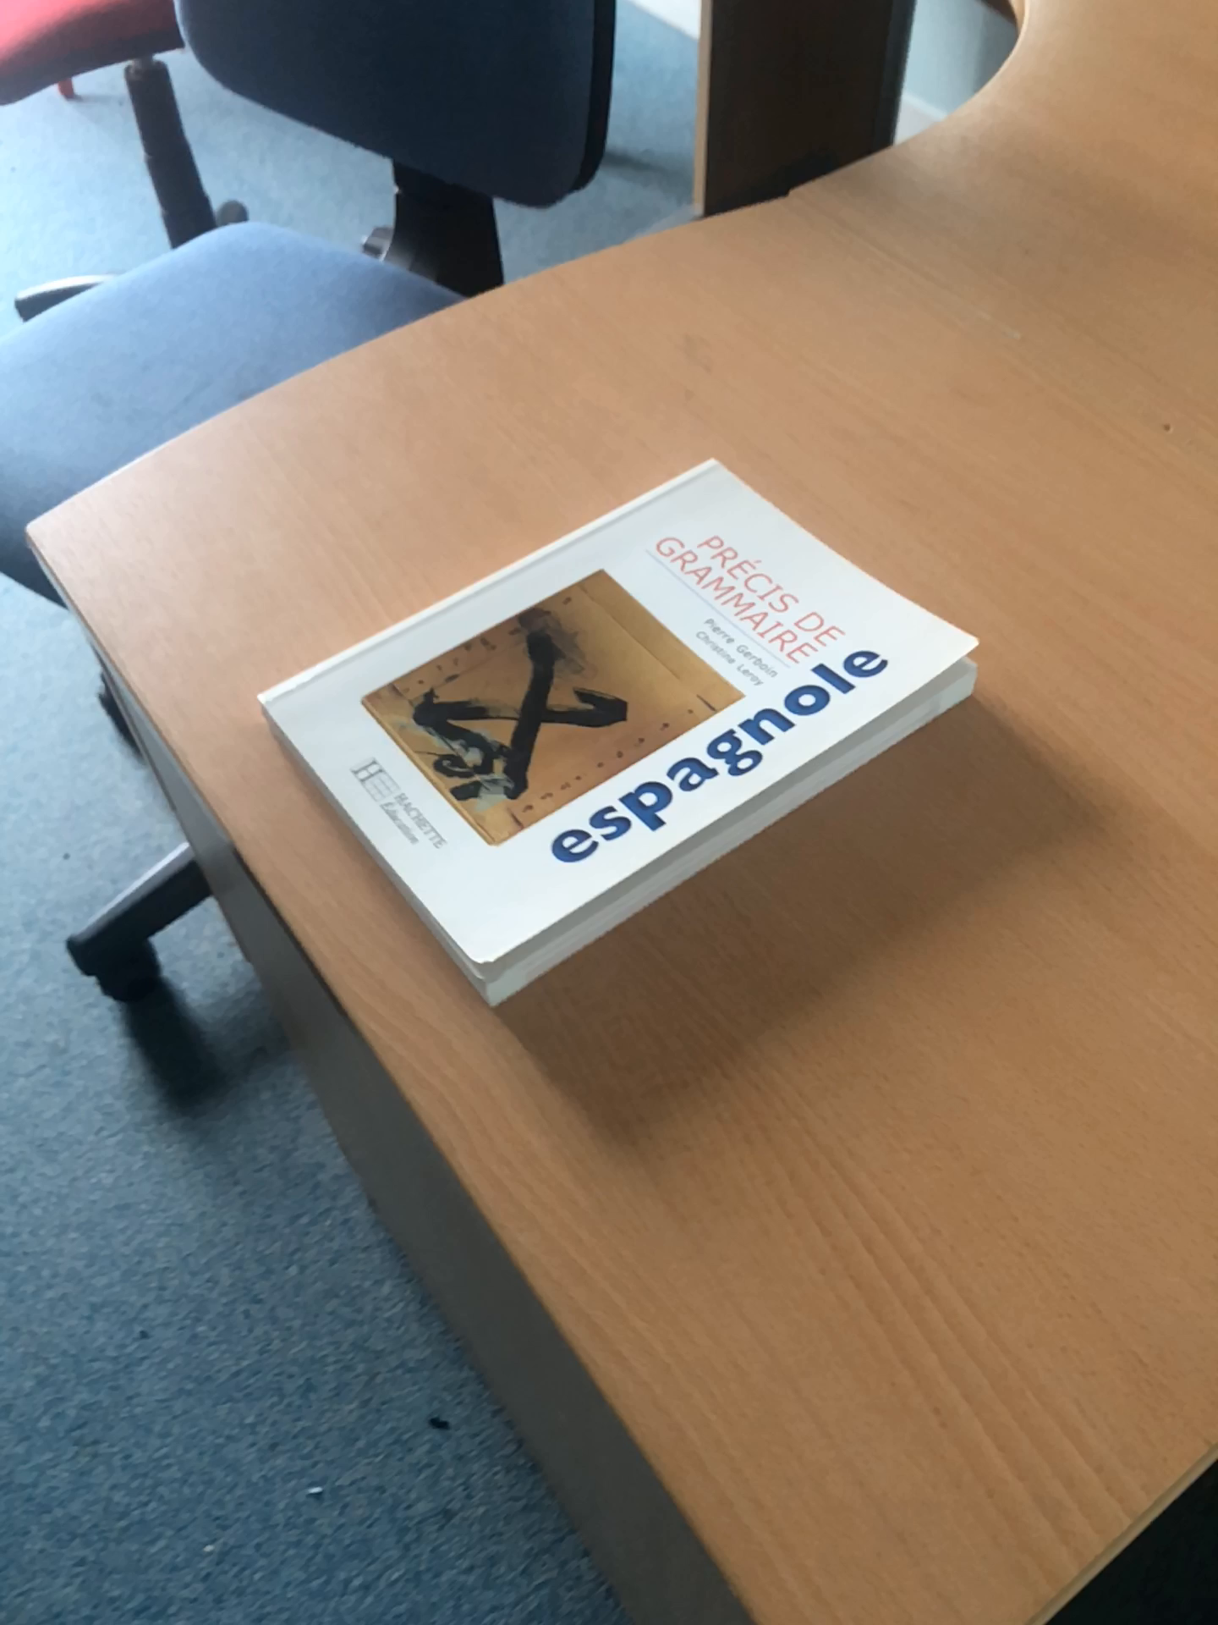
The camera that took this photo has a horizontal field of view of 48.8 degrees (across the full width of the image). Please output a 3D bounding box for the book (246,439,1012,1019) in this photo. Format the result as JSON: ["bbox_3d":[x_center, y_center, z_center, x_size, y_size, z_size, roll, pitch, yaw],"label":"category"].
[{"bbox_3d":[0.006,-0.051,0.533,0.241,0.020,0.180,-32,55,-20],"label":"book"}]
